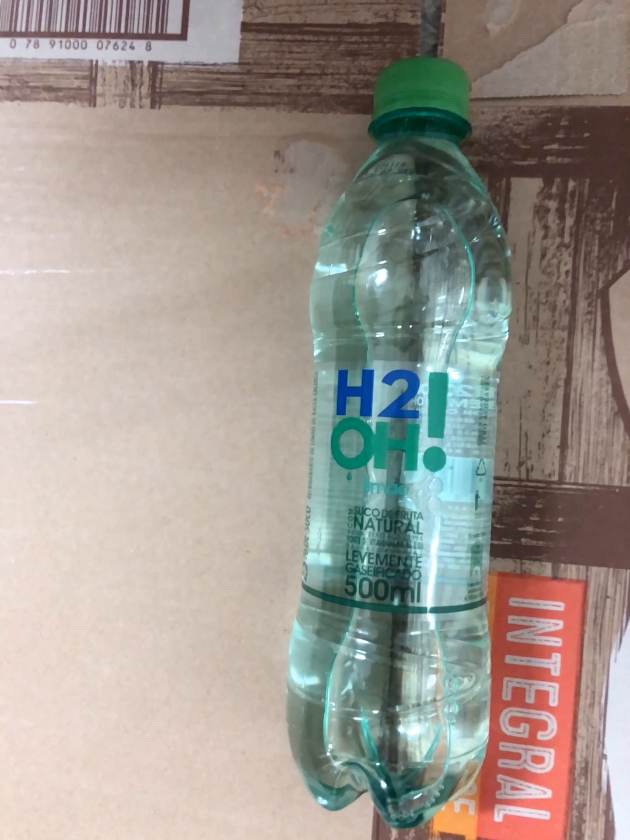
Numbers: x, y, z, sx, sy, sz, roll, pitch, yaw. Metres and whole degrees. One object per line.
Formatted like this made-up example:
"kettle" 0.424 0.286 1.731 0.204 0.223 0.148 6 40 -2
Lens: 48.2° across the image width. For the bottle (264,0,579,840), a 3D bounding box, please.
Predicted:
"bottle" 0.032 -0.002 0.219 0.070 0.050 0.250 4 89 5
